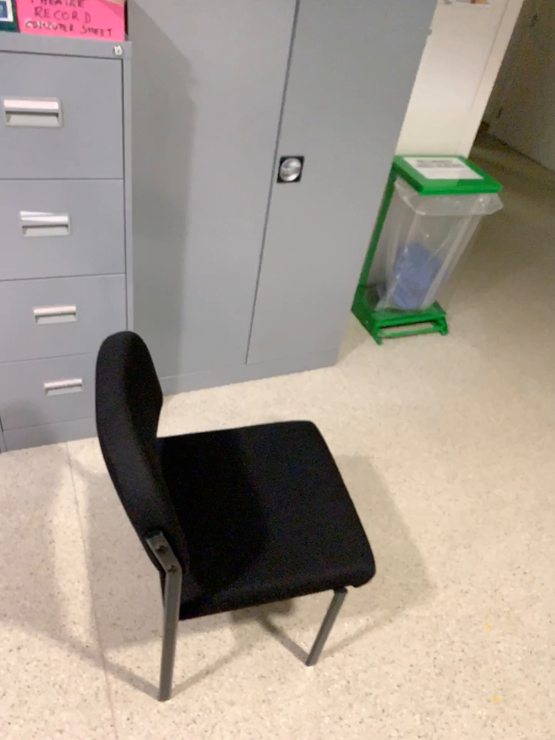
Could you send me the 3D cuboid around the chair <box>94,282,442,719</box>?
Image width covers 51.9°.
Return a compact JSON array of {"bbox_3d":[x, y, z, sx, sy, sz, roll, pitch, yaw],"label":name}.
[{"bbox_3d":[-0.124,0.319,1.471,0.591,0.852,0.636,-5,42,-18],"label":"chair"}]
